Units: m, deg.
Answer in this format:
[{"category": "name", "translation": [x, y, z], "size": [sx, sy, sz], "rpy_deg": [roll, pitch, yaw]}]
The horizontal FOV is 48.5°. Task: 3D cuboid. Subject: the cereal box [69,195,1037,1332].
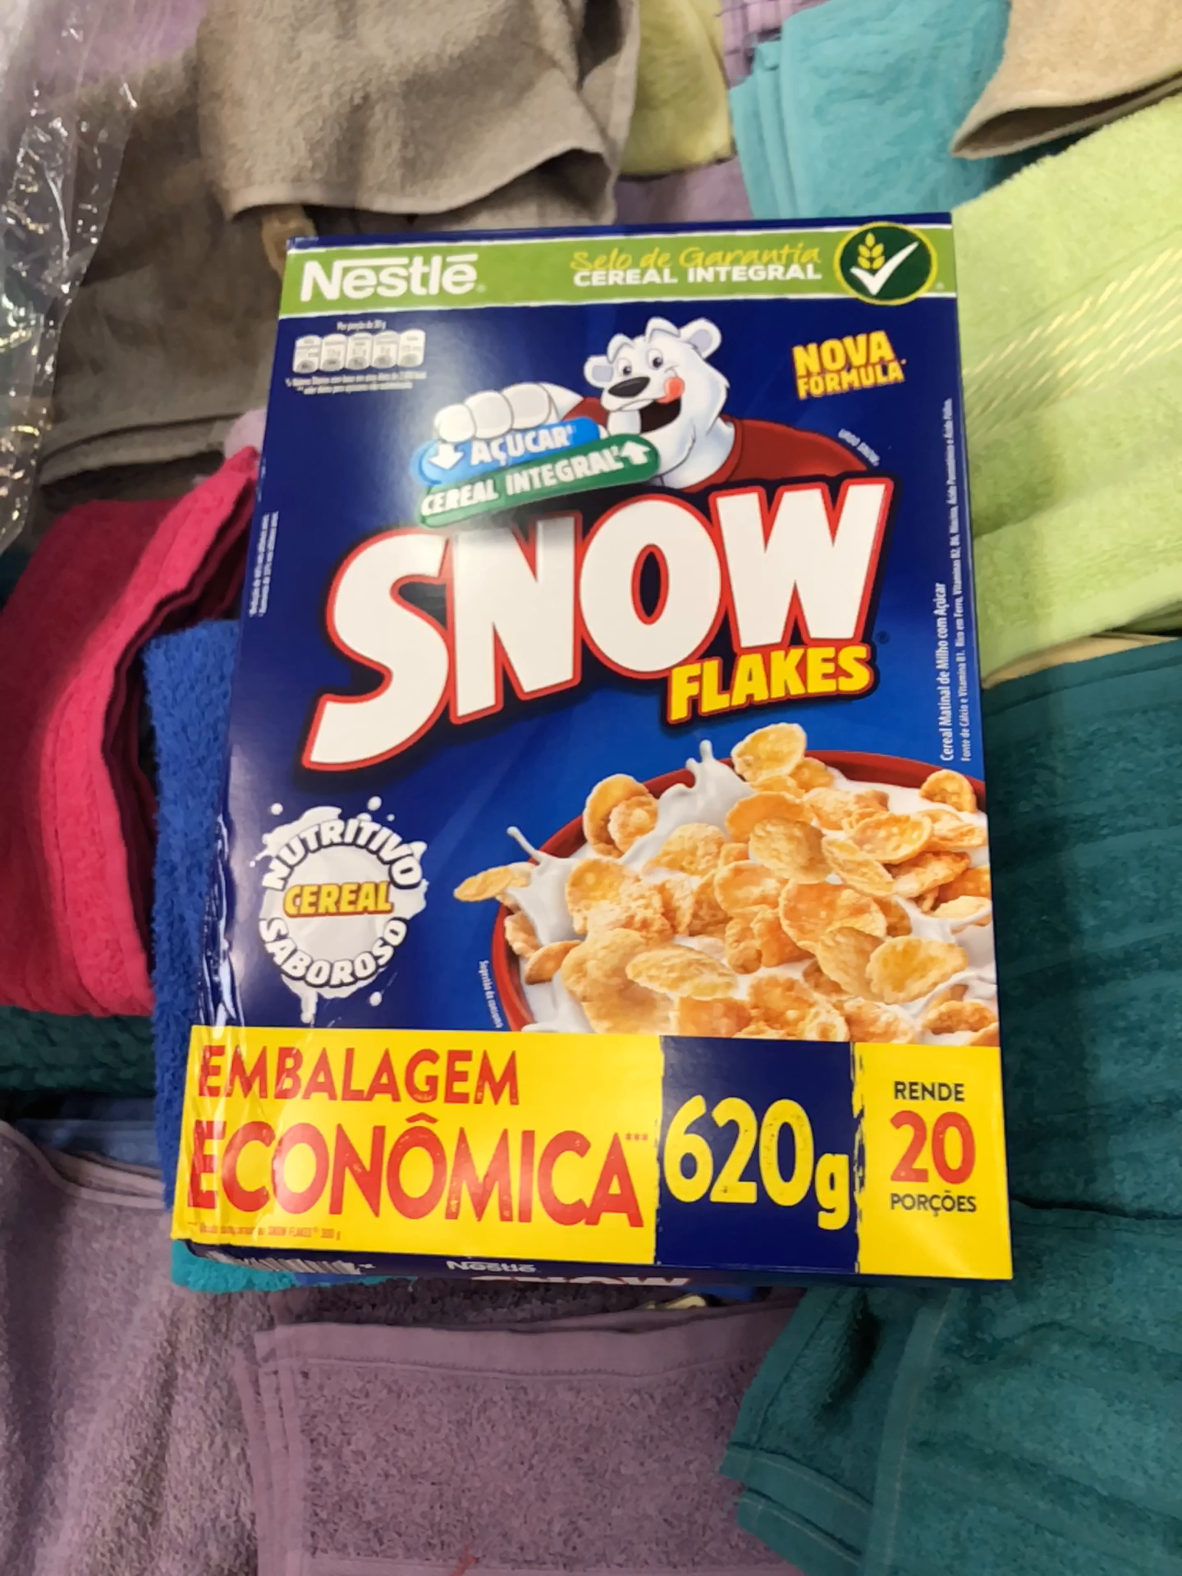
[{"category": "cereal box", "translation": [-0.002, -0.016, 0.375], "size": [0.220, 0.070, 0.301], "rpy_deg": [0, 71, 8]}]
